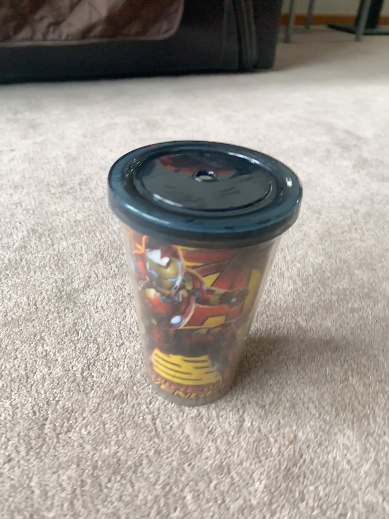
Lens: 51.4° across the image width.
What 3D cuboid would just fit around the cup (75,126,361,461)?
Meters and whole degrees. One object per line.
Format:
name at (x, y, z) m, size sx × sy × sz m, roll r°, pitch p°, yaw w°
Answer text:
cup at (0.006, 0.012, 0.239) m, size 0.100 × 0.139 × 0.100 m, roll 2°, pitch 35°, yaw -1°
